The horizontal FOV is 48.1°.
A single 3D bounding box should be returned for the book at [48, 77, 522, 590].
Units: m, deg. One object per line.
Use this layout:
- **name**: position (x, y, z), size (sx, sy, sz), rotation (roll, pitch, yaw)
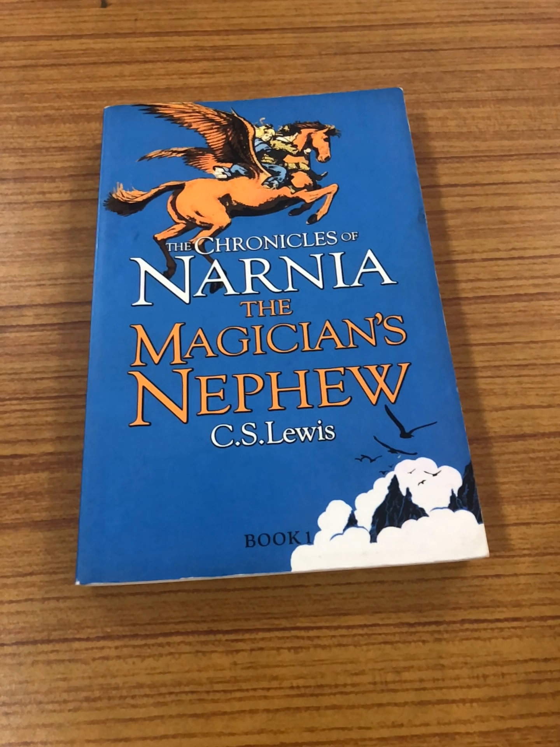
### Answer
- **book**: position (-0.004, -0.025, 0.235), size (0.140, 0.030, 0.190), rotation (-4, 67, -1)
